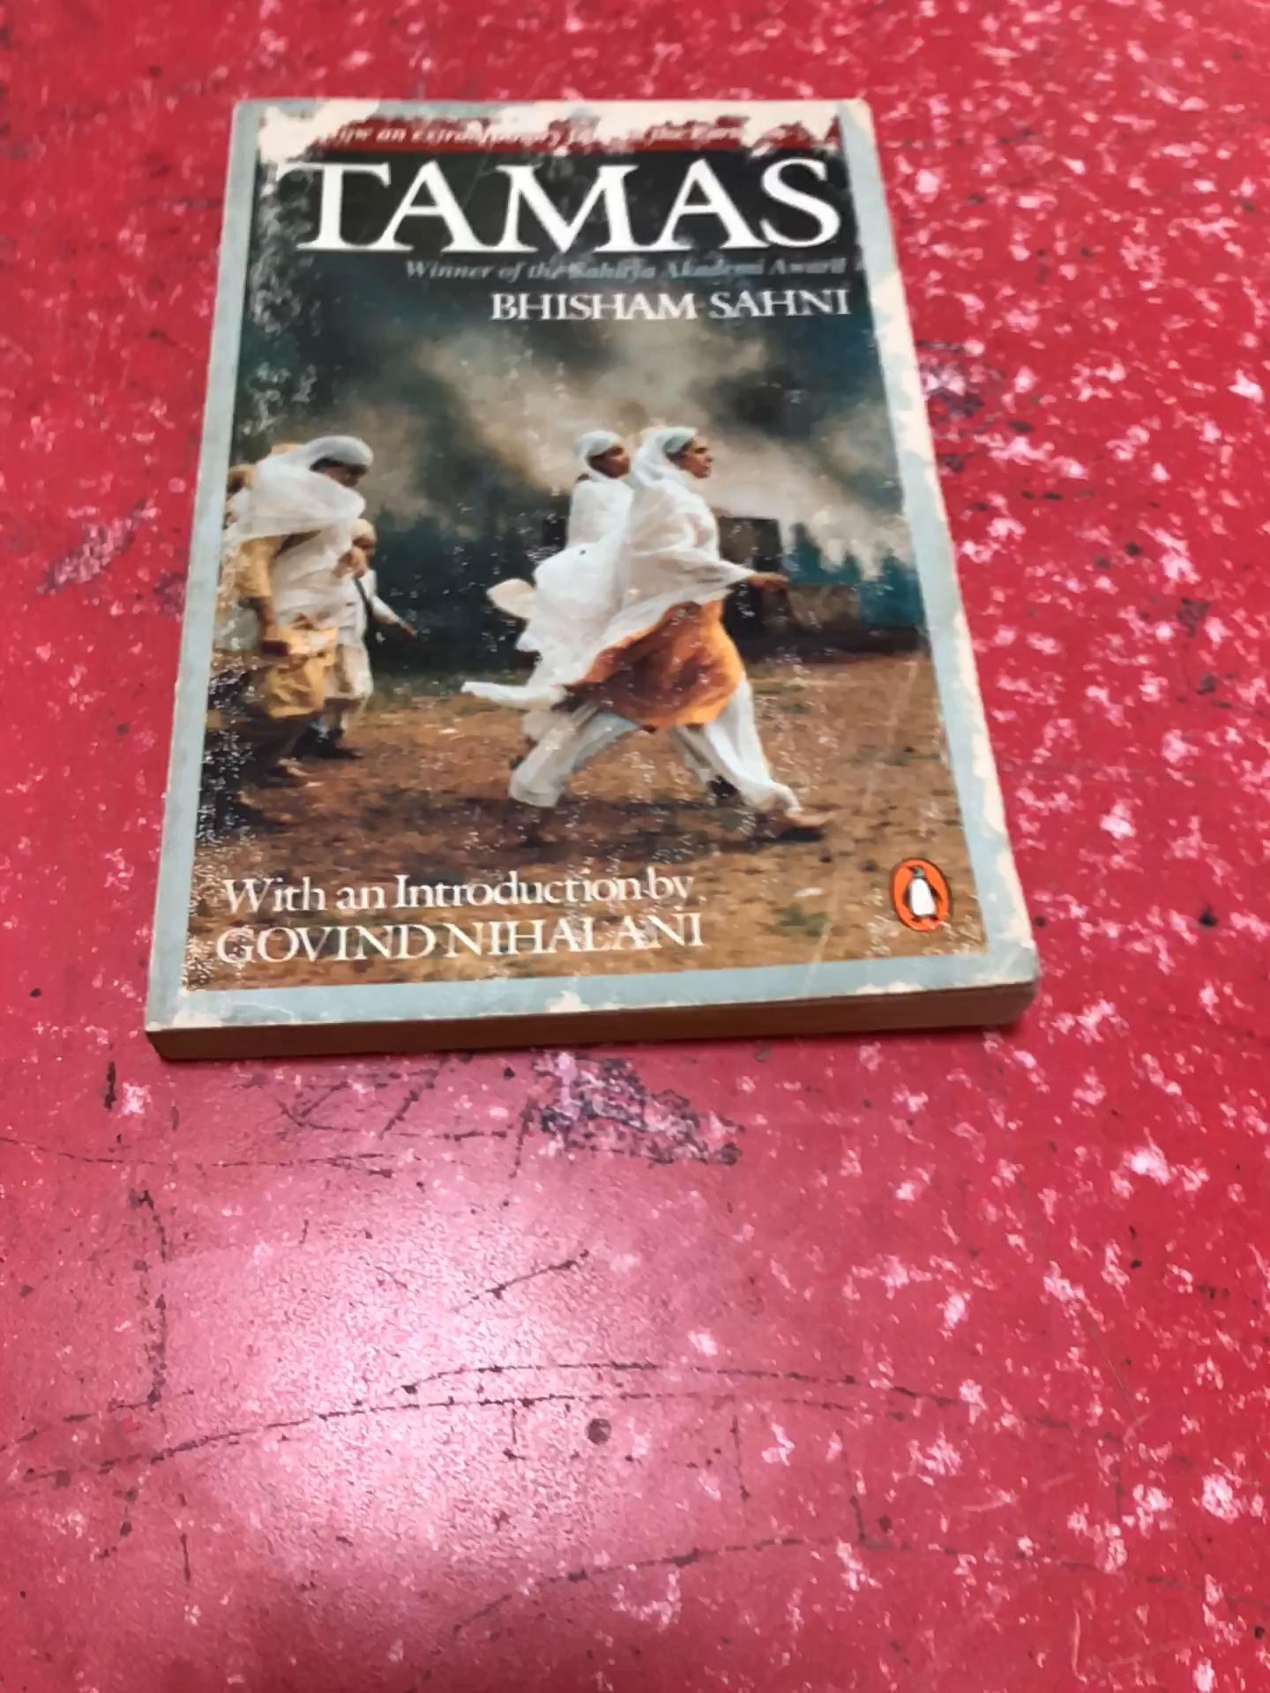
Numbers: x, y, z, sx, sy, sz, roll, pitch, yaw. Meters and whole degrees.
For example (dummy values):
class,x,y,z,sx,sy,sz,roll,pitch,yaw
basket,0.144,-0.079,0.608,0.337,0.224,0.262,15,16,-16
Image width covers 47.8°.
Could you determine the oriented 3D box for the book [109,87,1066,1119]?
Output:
class,x,y,z,sx,sy,sz,roll,pitch,yaw
book,-0.012,-0.057,0.248,0.130,0.020,0.200,-2,63,-4
